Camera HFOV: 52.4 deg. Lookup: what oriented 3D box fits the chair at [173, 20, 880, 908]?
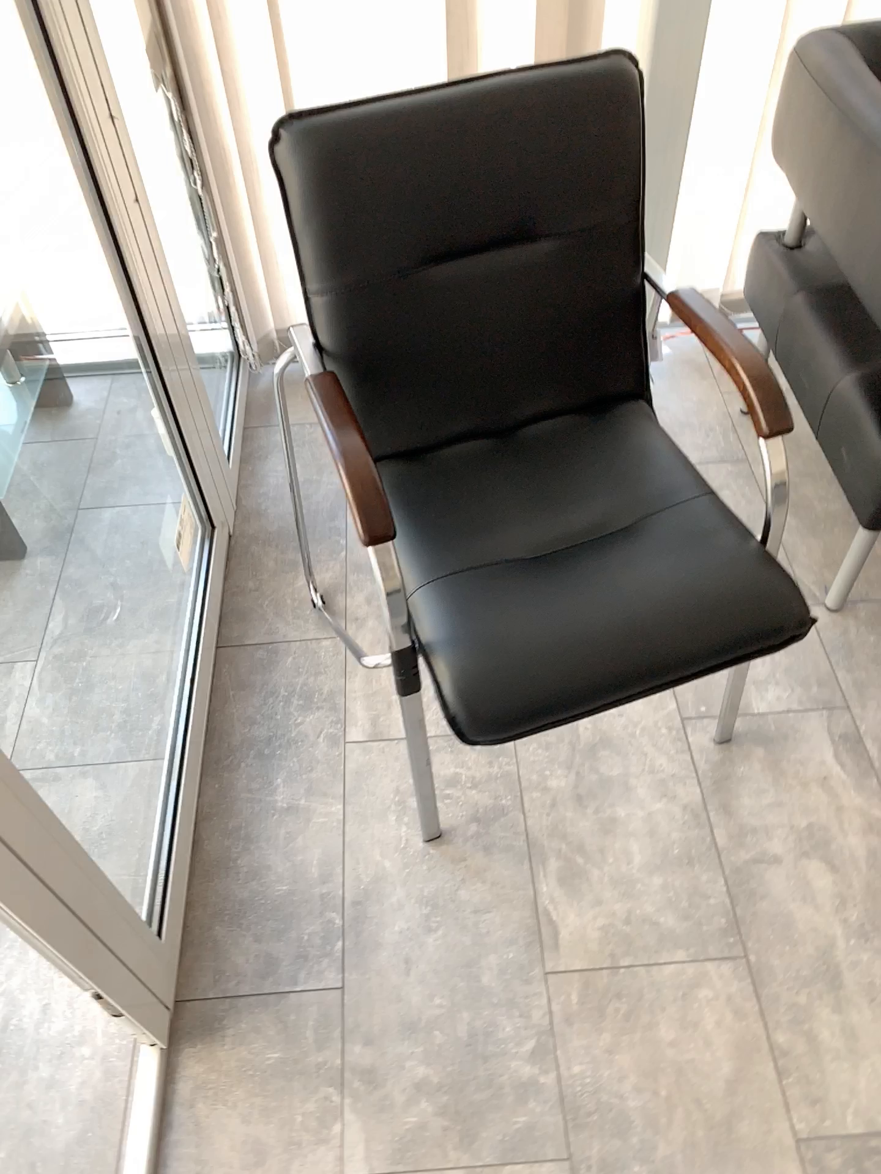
[{"bbox_3d":[0.132,-0.150,1.245,0.680,0.827,0.702,-17,52,-11],"label":"chair"}]
